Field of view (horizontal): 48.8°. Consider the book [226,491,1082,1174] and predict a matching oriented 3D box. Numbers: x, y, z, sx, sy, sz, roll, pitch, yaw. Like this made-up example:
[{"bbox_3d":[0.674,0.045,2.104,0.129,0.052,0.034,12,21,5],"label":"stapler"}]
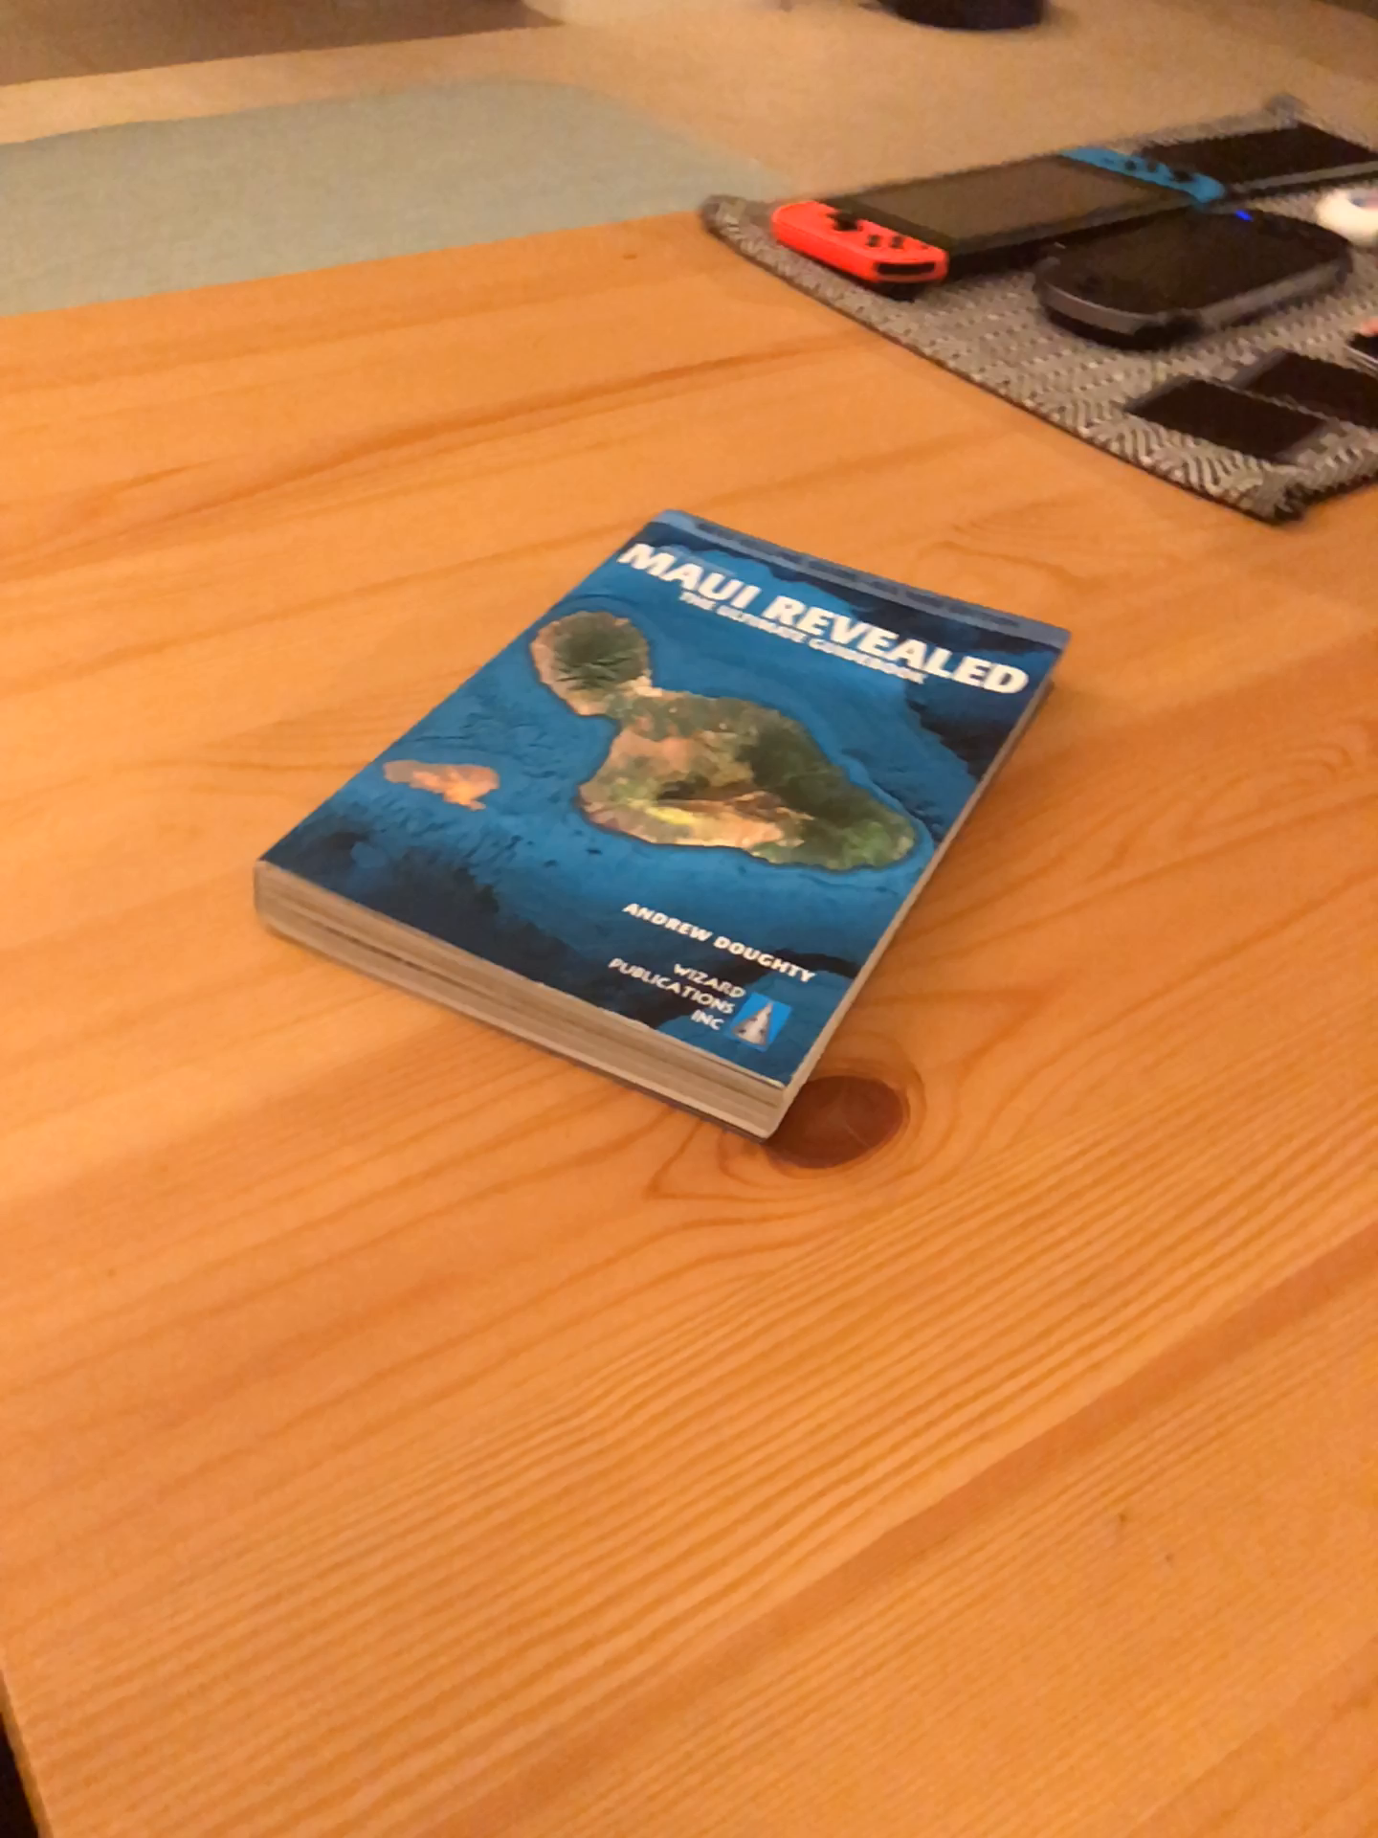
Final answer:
[{"bbox_3d":[0.003,-0.041,0.401,0.146,0.020,0.201,22,47,16],"label":"book"}]
